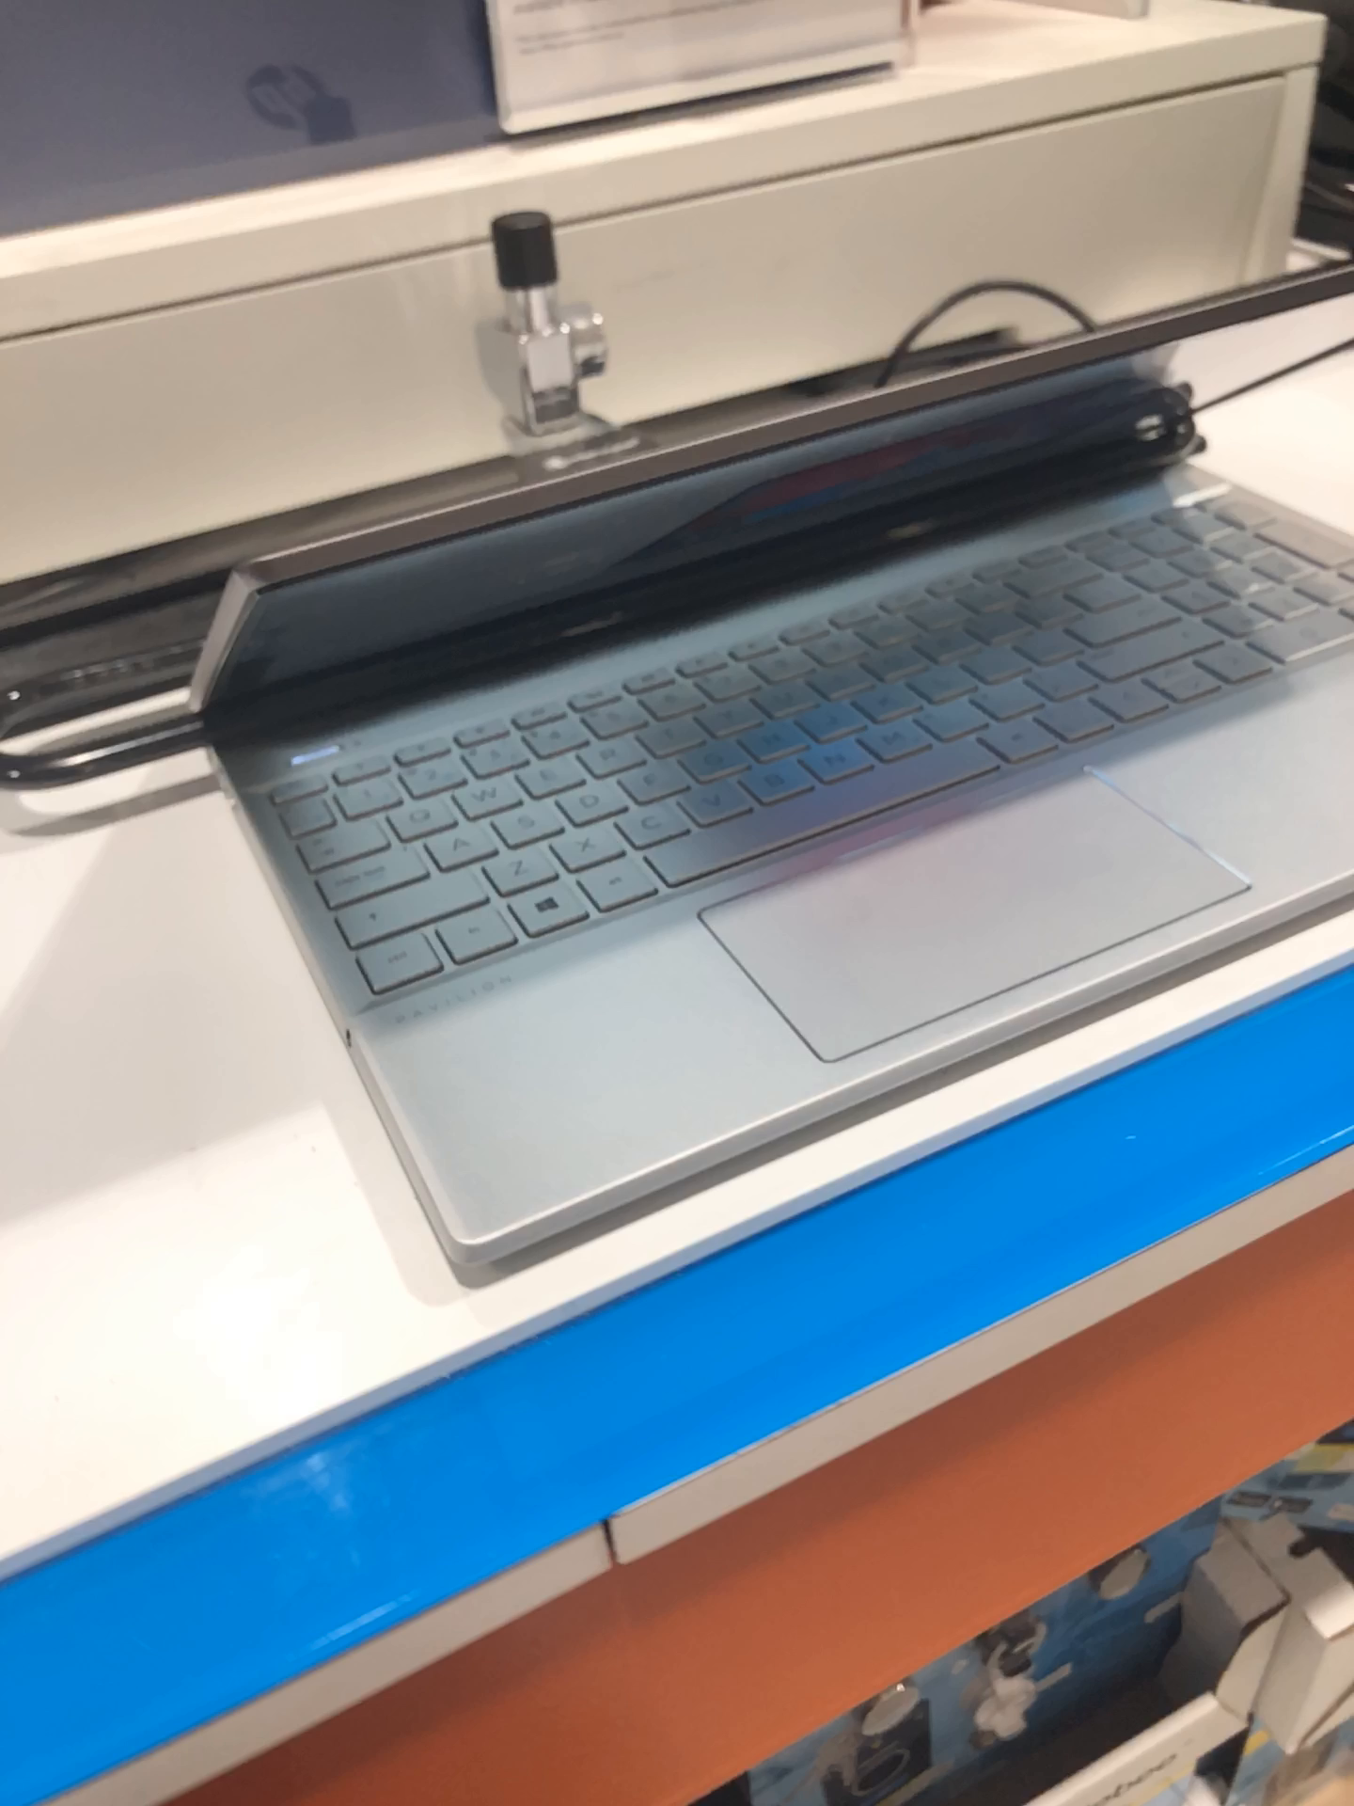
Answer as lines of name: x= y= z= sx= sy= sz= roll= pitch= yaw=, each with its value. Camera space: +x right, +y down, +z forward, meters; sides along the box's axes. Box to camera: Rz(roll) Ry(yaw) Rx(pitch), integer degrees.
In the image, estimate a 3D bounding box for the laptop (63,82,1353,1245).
laptop: x=0.058 y=-0.097 z=0.382 sx=0.347 sy=0.124 sz=0.216 roll=-20 pitch=40 yaw=-18
